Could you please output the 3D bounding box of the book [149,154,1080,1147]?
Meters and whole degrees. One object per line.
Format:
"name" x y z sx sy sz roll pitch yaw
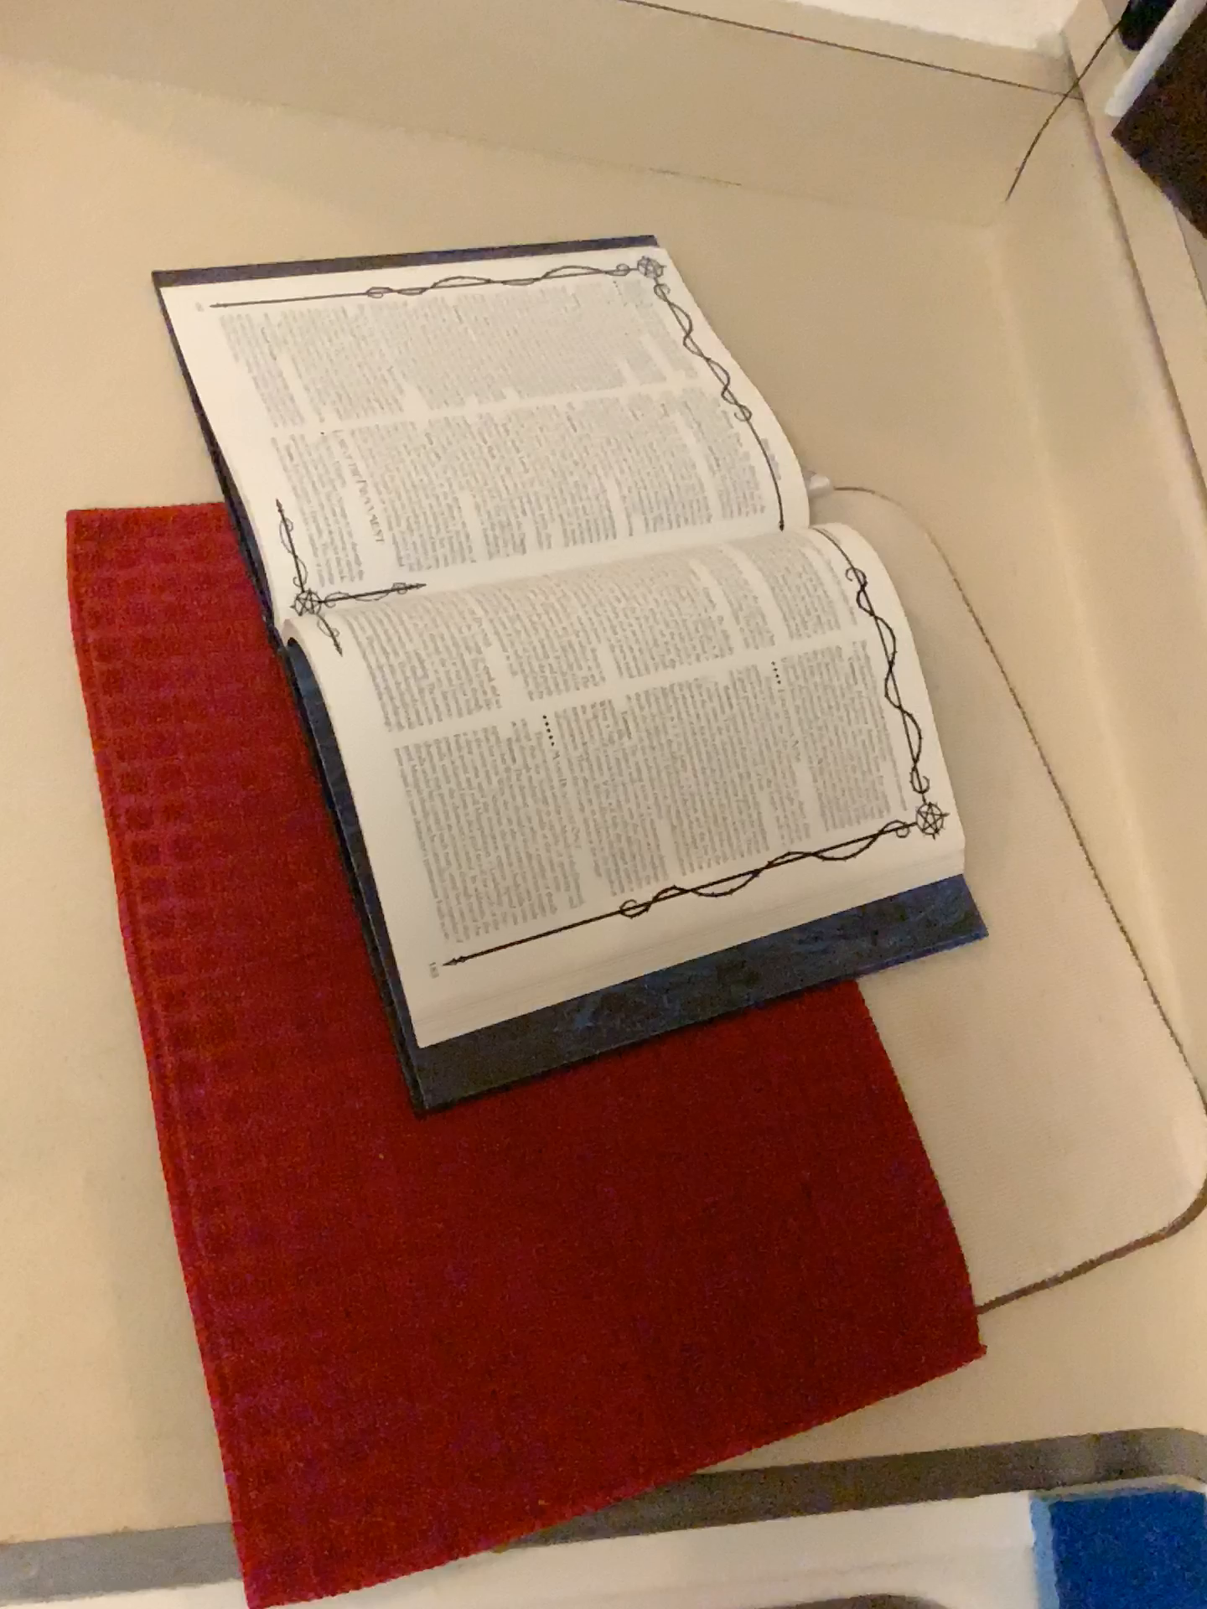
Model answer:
"book" -0.006 -0.108 0.637 0.290 0.060 0.450 -16 72 -22
